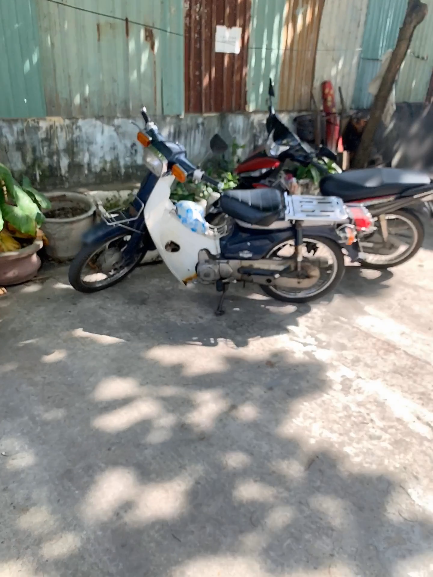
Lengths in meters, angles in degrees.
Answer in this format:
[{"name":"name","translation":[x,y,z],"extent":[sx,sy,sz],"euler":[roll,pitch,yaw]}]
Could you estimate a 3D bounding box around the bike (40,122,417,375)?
[{"name":"bike","translation":[0.005,-0.243,2.250],"extent":[1.474,1.024,0.656],"euler":[-2,27,-8]}]
